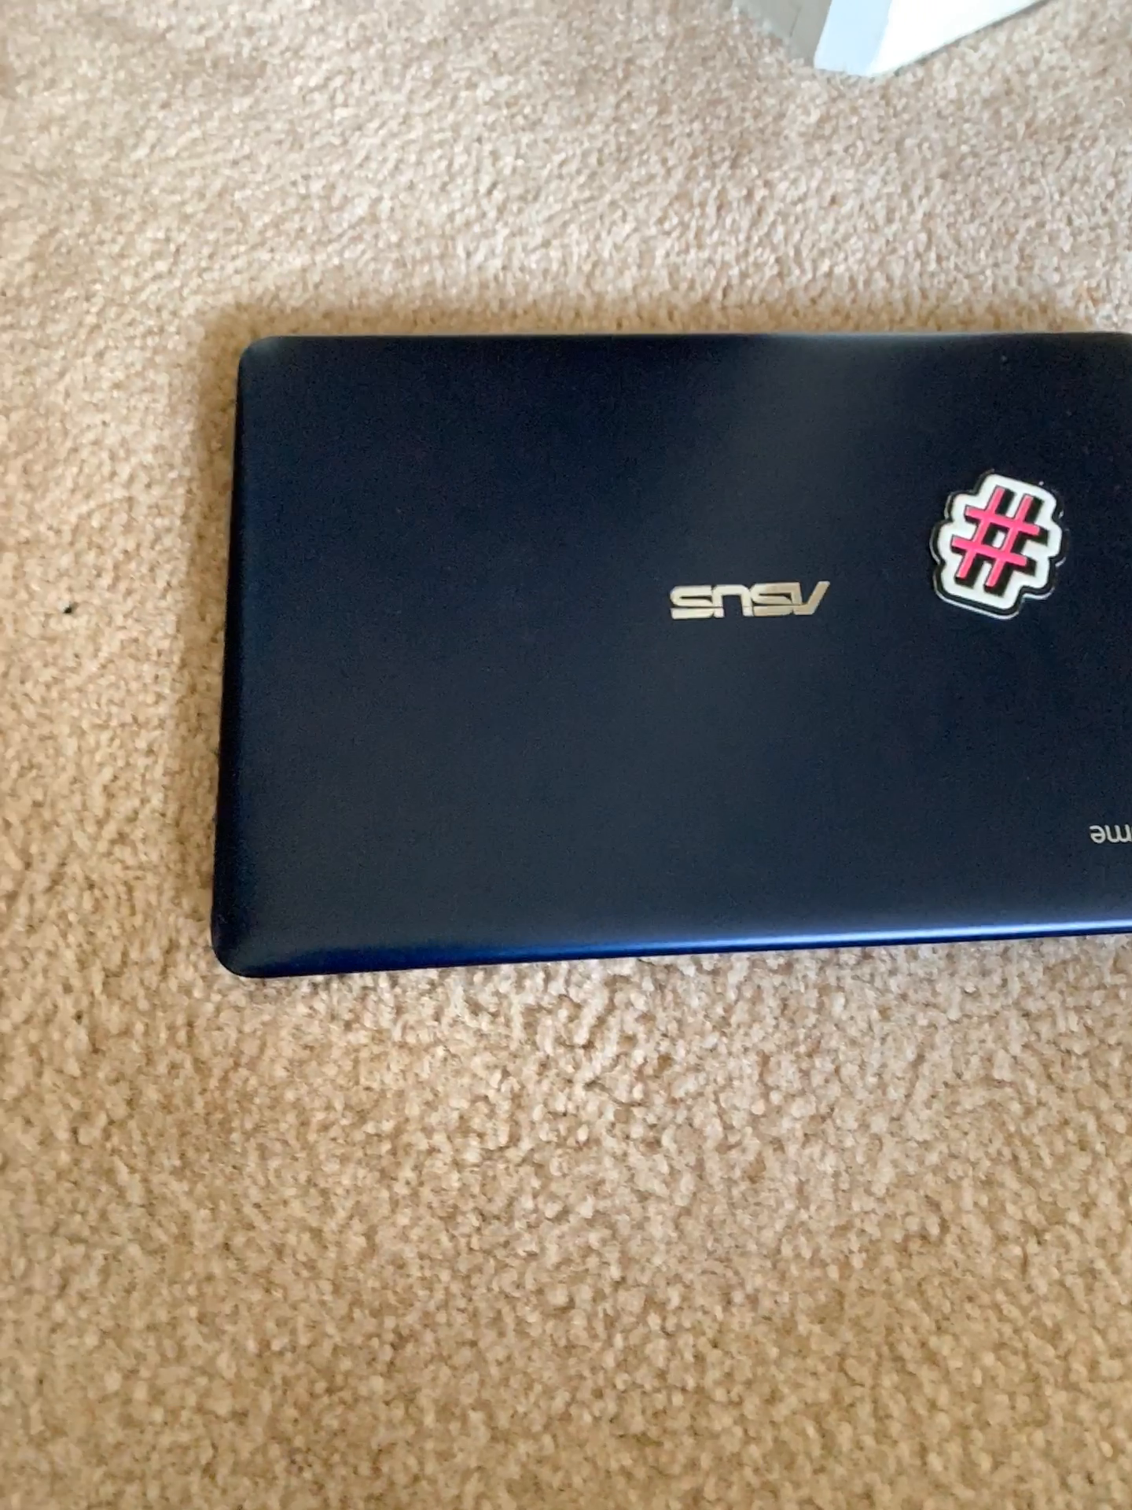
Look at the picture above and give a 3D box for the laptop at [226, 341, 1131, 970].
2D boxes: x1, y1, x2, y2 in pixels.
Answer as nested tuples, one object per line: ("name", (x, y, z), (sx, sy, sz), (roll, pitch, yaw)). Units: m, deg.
("laptop", (0.048, -0.039, 0.323), (0.271, 0.006, 0.182), (-2, 69, -5))
